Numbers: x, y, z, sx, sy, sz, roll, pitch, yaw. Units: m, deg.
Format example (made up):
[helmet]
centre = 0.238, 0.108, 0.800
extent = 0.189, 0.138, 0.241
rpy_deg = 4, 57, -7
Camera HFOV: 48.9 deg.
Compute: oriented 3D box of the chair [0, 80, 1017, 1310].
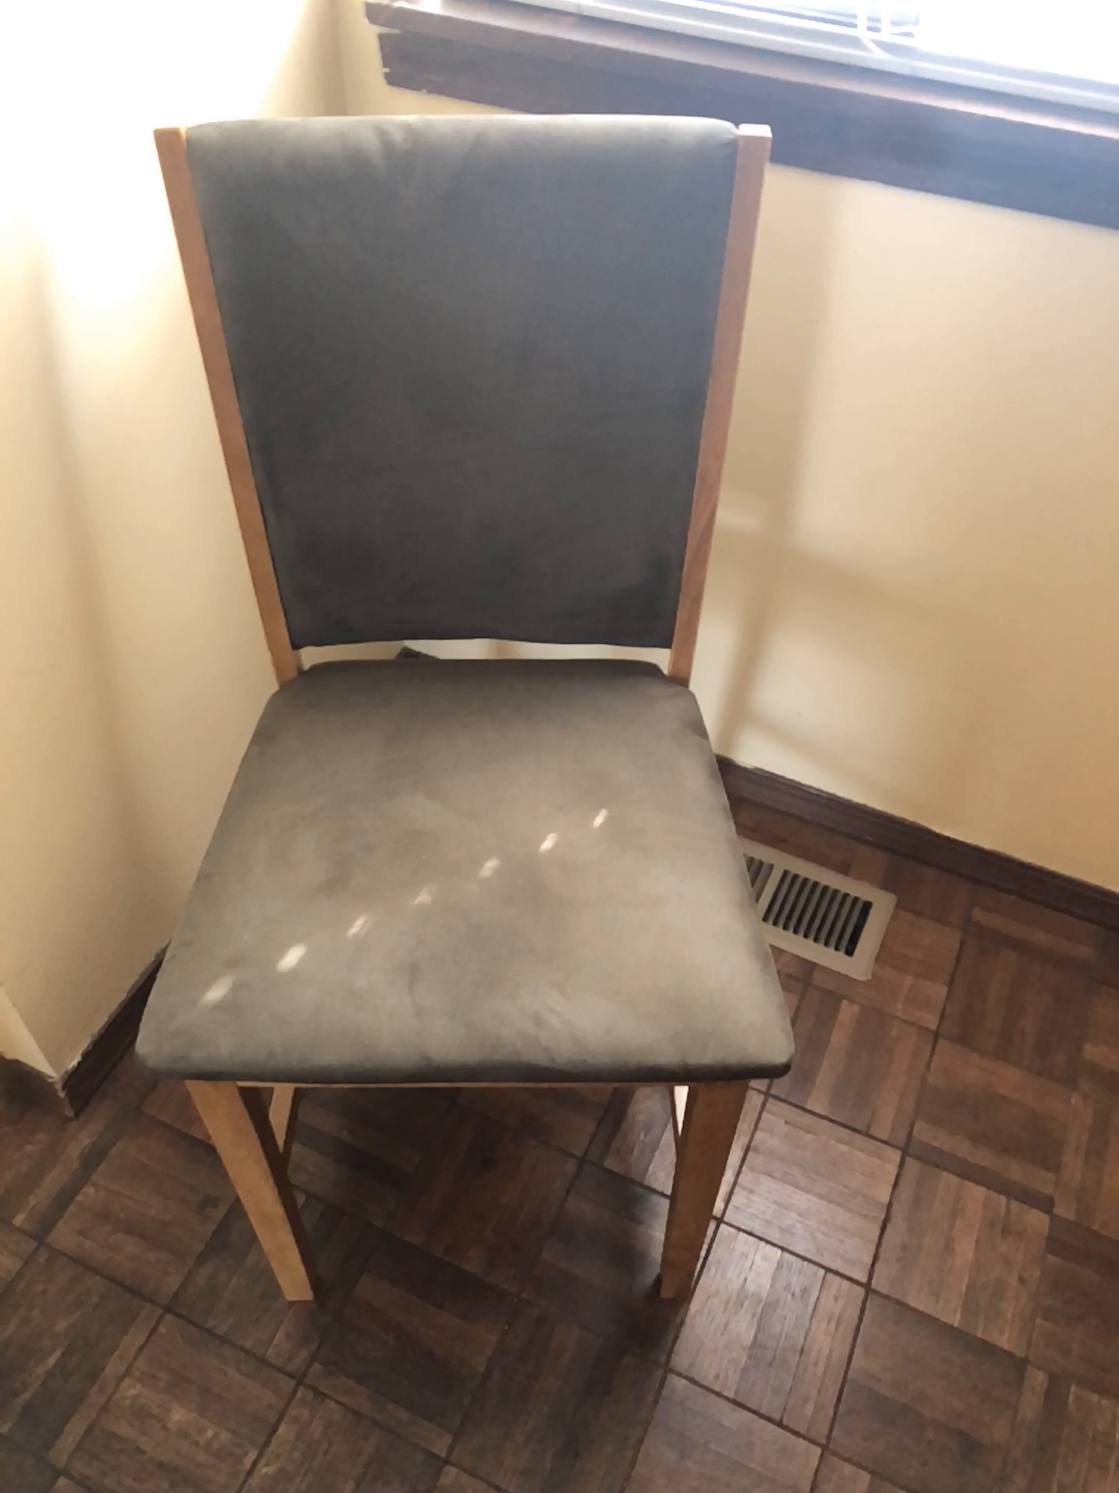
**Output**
[chair]
centre = -0.065, 0.014, 0.990
extent = 0.490, 0.858, 0.511
rpy_deg = 0, 44, -1
